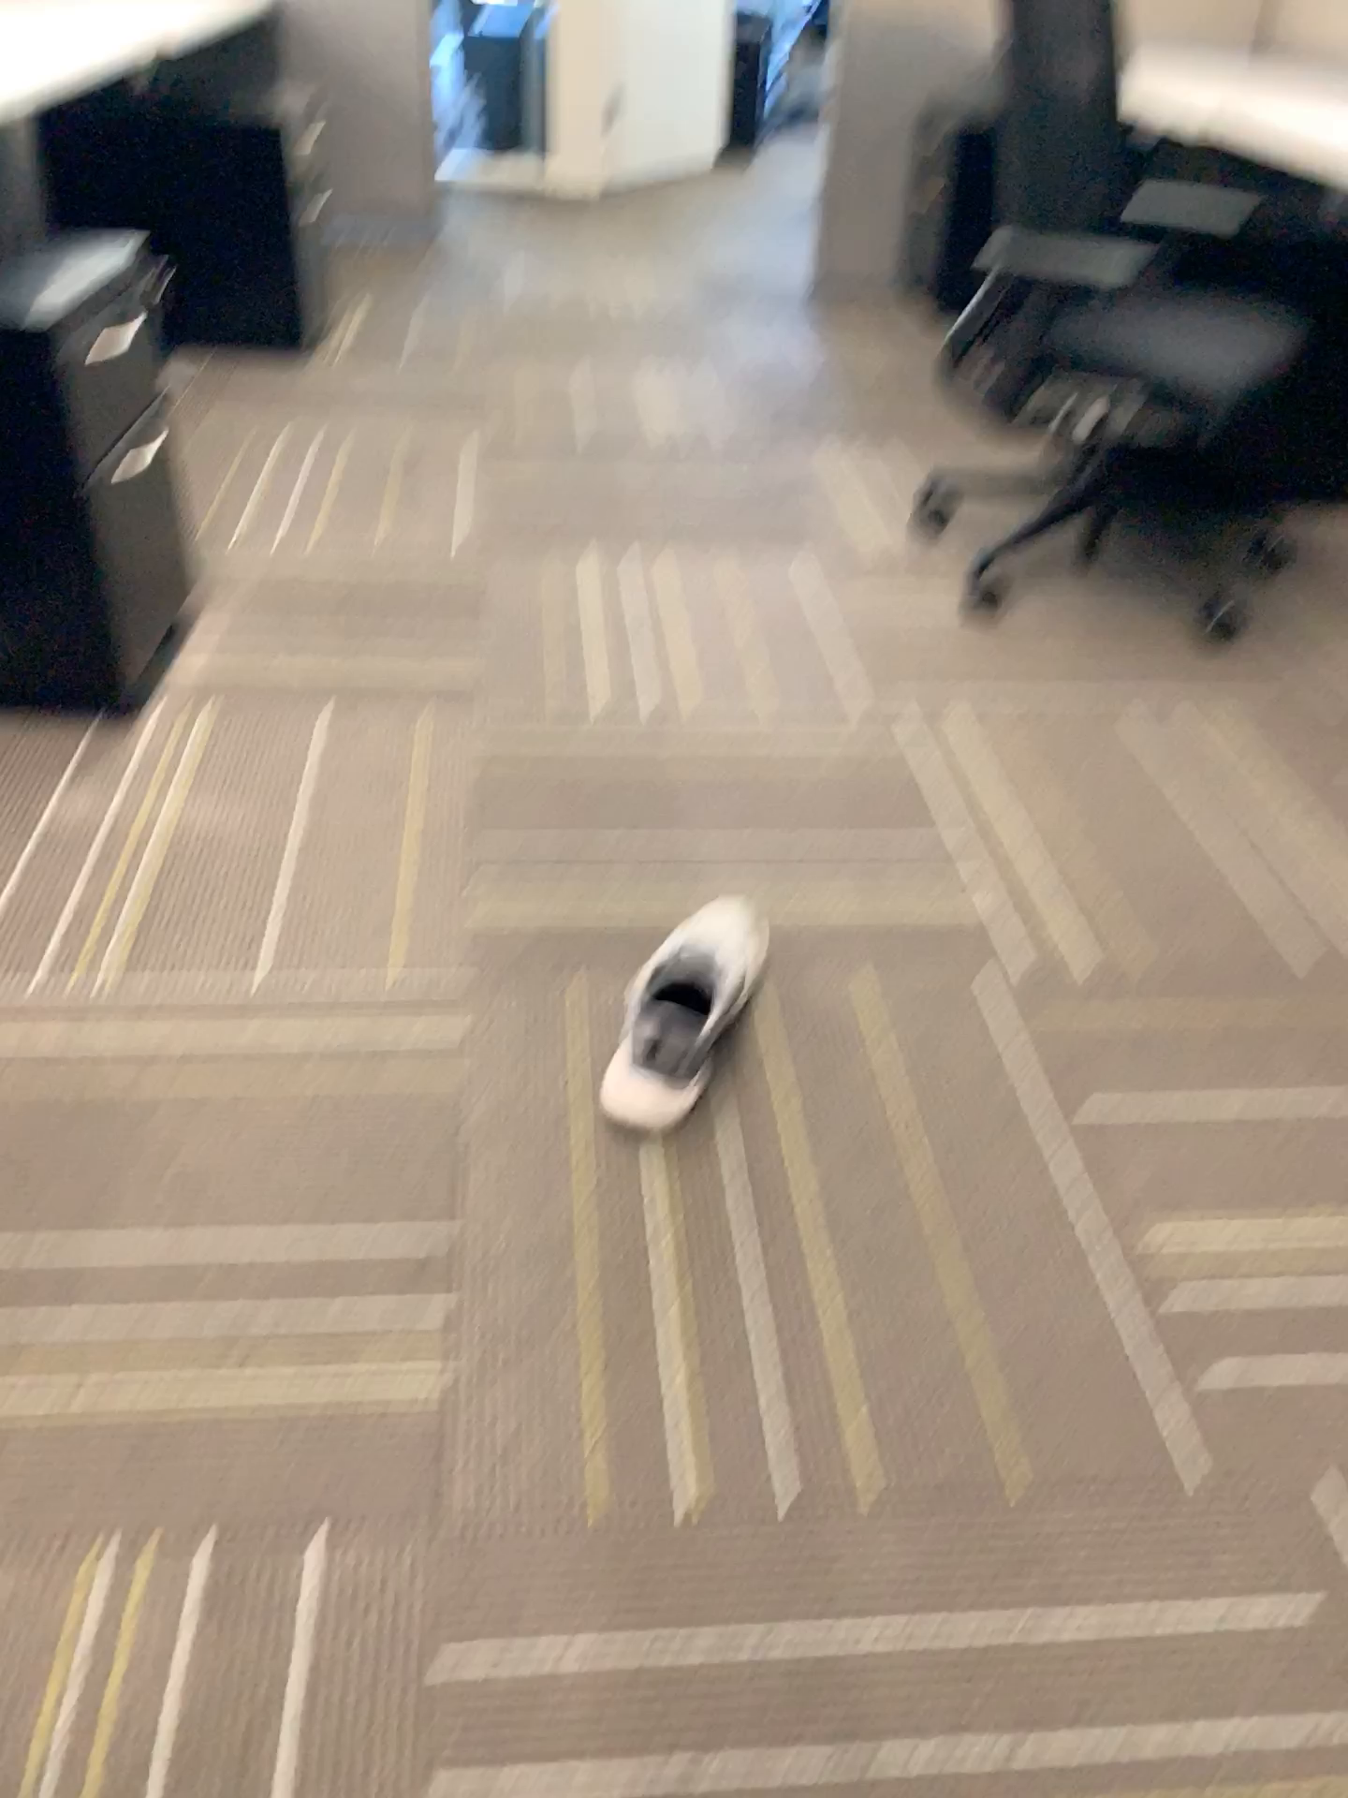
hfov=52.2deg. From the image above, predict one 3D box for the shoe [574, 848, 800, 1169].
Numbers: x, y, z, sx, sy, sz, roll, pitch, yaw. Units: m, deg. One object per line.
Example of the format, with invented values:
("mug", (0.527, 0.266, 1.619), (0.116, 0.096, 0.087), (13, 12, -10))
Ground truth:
("shoe", (0.021, 0.096, 1.369), (0.160, 0.109, 0.331), (9, 36, 7))
